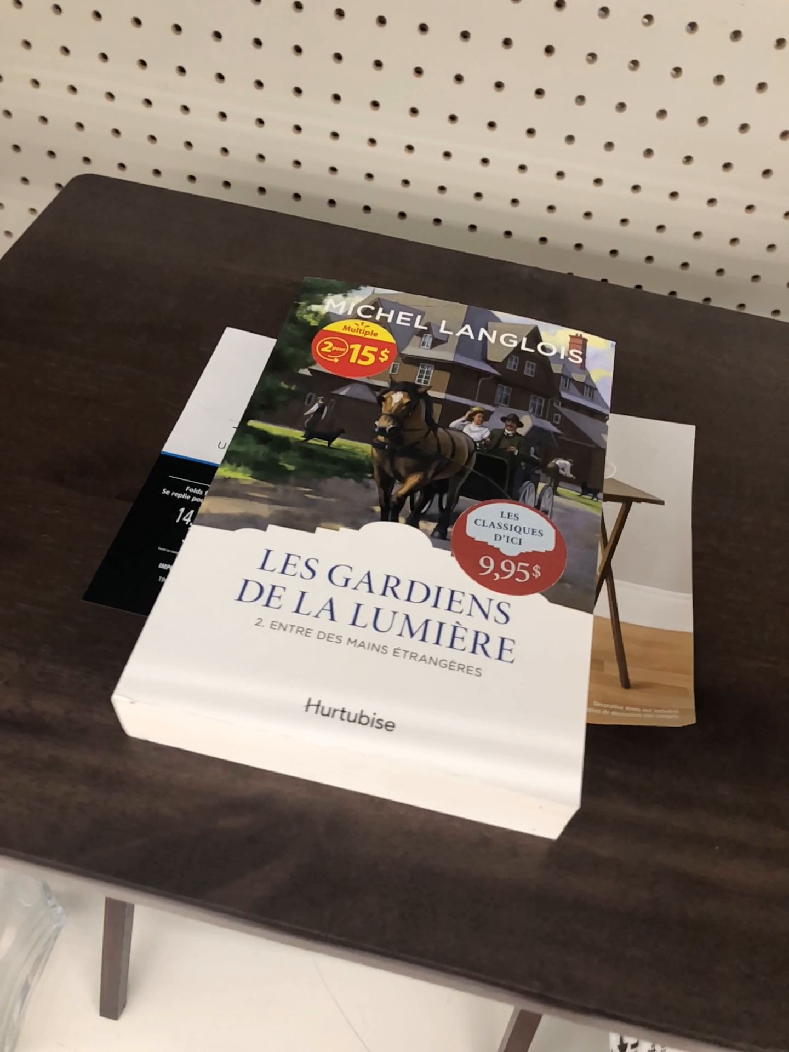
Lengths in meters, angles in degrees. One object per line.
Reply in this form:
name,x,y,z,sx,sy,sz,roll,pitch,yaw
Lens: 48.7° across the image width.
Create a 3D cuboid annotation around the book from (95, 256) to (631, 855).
book,0.007,-0.009,0.353,0.158,0.039,0.235,13,52,3
